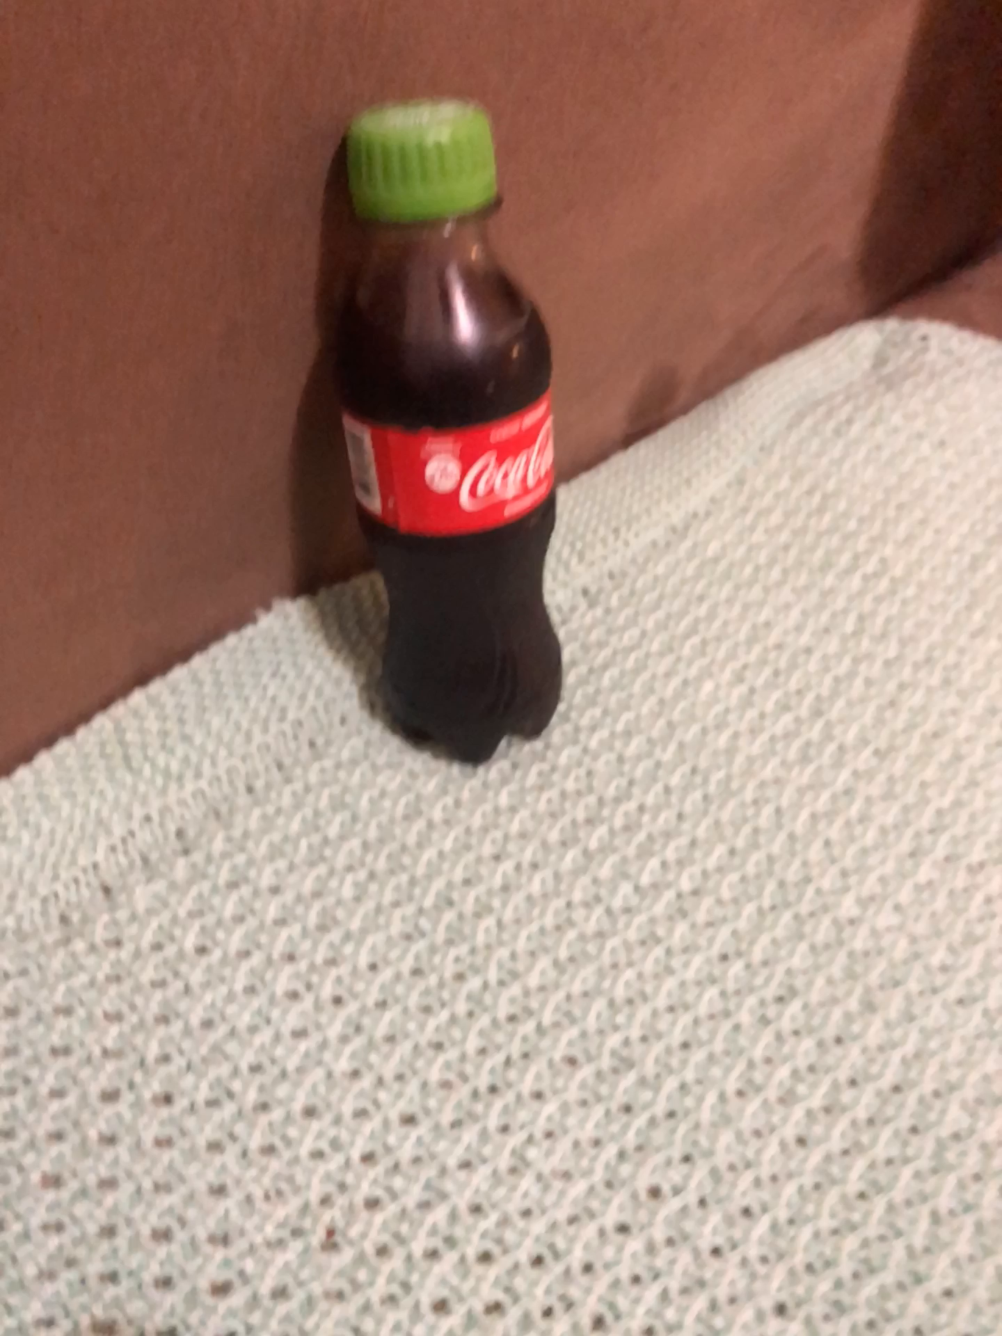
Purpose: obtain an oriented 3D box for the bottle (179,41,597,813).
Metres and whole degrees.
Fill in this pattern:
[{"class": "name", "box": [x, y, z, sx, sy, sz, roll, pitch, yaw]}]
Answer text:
[{"class": "bottle", "box": [-0.020, -0.053, 0.280, 0.060, 0.169, 0.060, -1, 39, 1]}]
